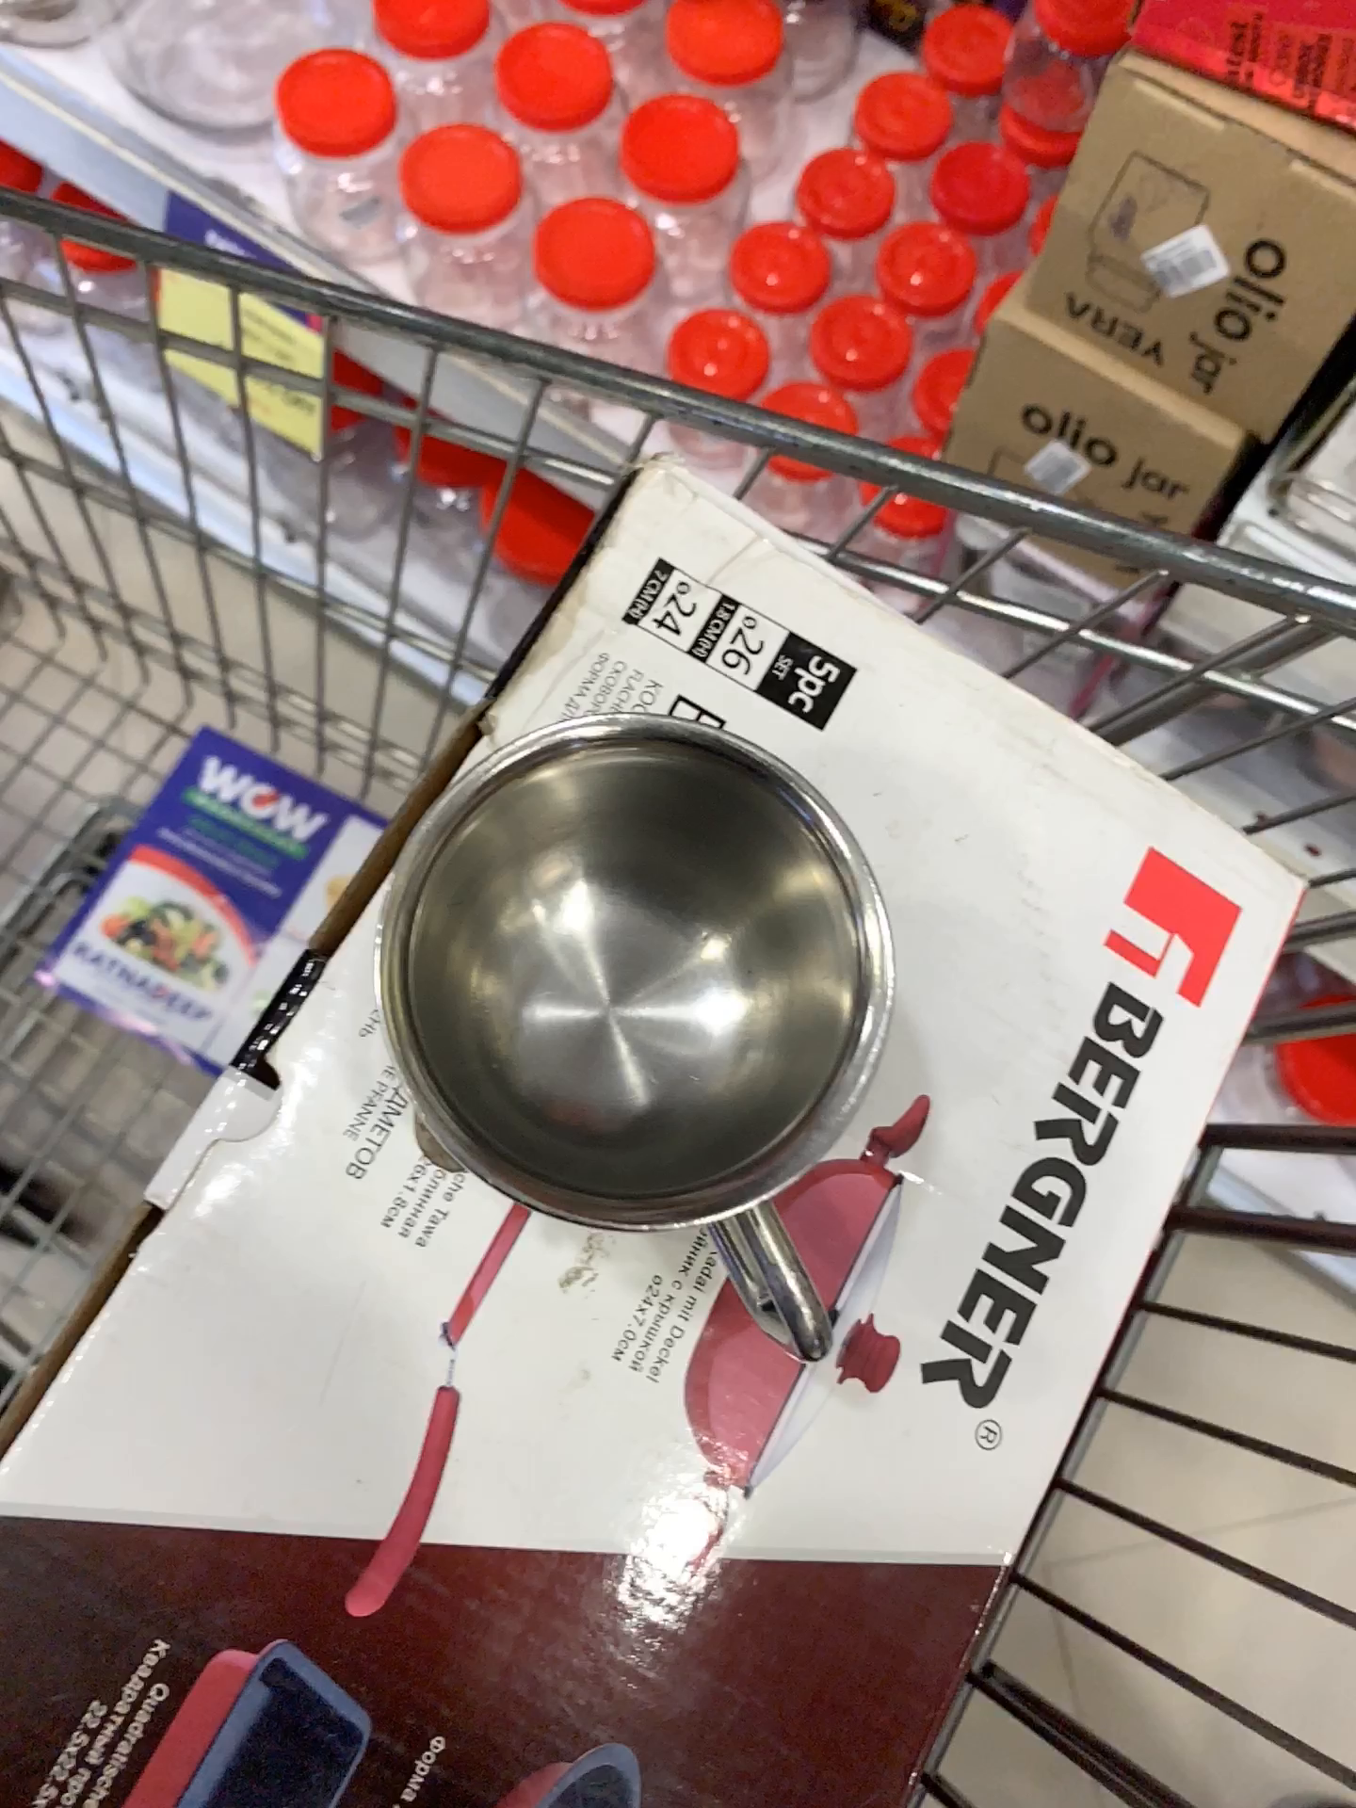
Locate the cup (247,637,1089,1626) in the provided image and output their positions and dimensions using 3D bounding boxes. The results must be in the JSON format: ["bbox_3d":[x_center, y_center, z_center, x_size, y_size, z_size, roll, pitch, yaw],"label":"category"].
[{"bbox_3d":[-0.004,0.026,0.176,0.060,0.050,0.090,-22,75,-9],"label":"cup"}]
